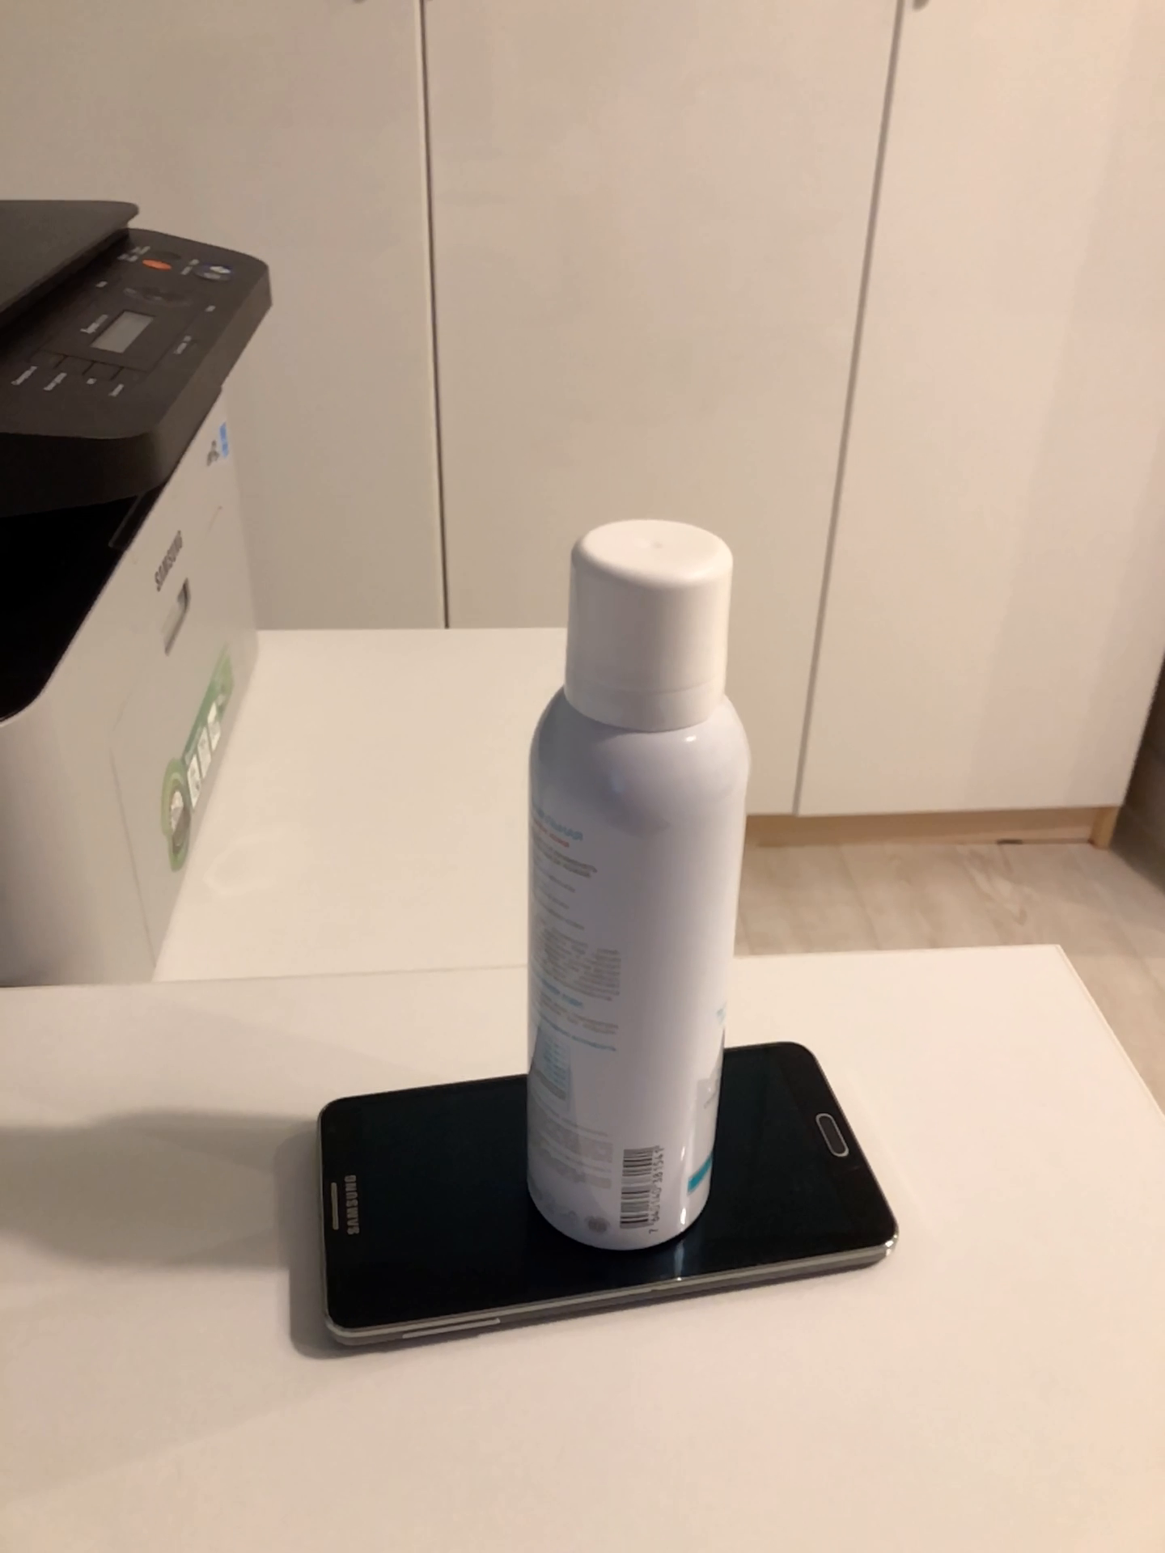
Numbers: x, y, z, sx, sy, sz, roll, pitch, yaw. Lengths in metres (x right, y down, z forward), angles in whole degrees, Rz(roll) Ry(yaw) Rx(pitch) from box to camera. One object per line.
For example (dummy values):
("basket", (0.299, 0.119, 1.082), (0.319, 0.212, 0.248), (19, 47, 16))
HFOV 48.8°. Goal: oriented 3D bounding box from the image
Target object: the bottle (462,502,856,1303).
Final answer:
("bottle", (0.012, 0.033, 0.300), (0.059, 0.175, 0.054), (1, 31, -1))
